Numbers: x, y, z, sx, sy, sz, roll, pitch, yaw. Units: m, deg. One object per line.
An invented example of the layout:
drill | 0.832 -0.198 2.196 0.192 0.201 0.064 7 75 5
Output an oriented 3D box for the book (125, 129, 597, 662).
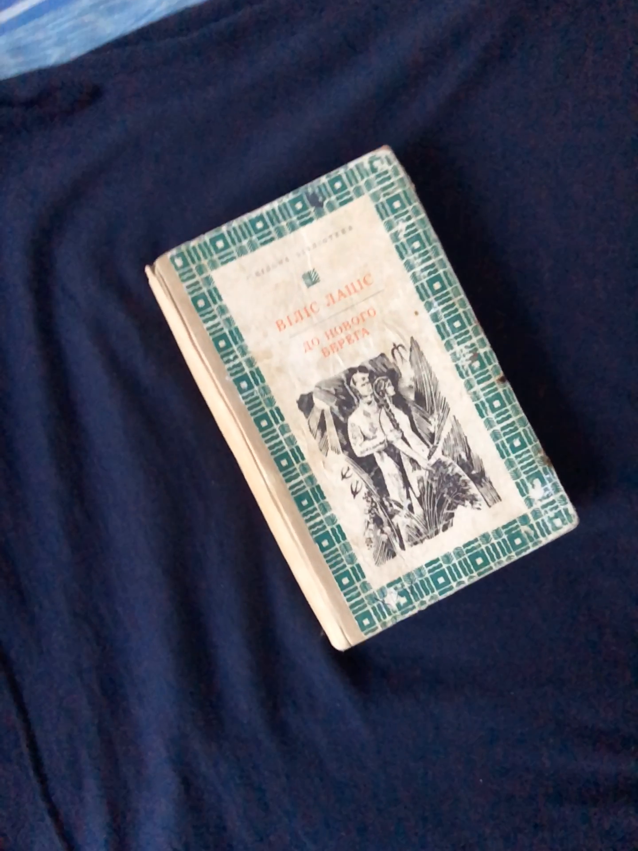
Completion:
book | 0.018 -0.014 0.338 0.134 0.040 0.201 -28 88 -2
